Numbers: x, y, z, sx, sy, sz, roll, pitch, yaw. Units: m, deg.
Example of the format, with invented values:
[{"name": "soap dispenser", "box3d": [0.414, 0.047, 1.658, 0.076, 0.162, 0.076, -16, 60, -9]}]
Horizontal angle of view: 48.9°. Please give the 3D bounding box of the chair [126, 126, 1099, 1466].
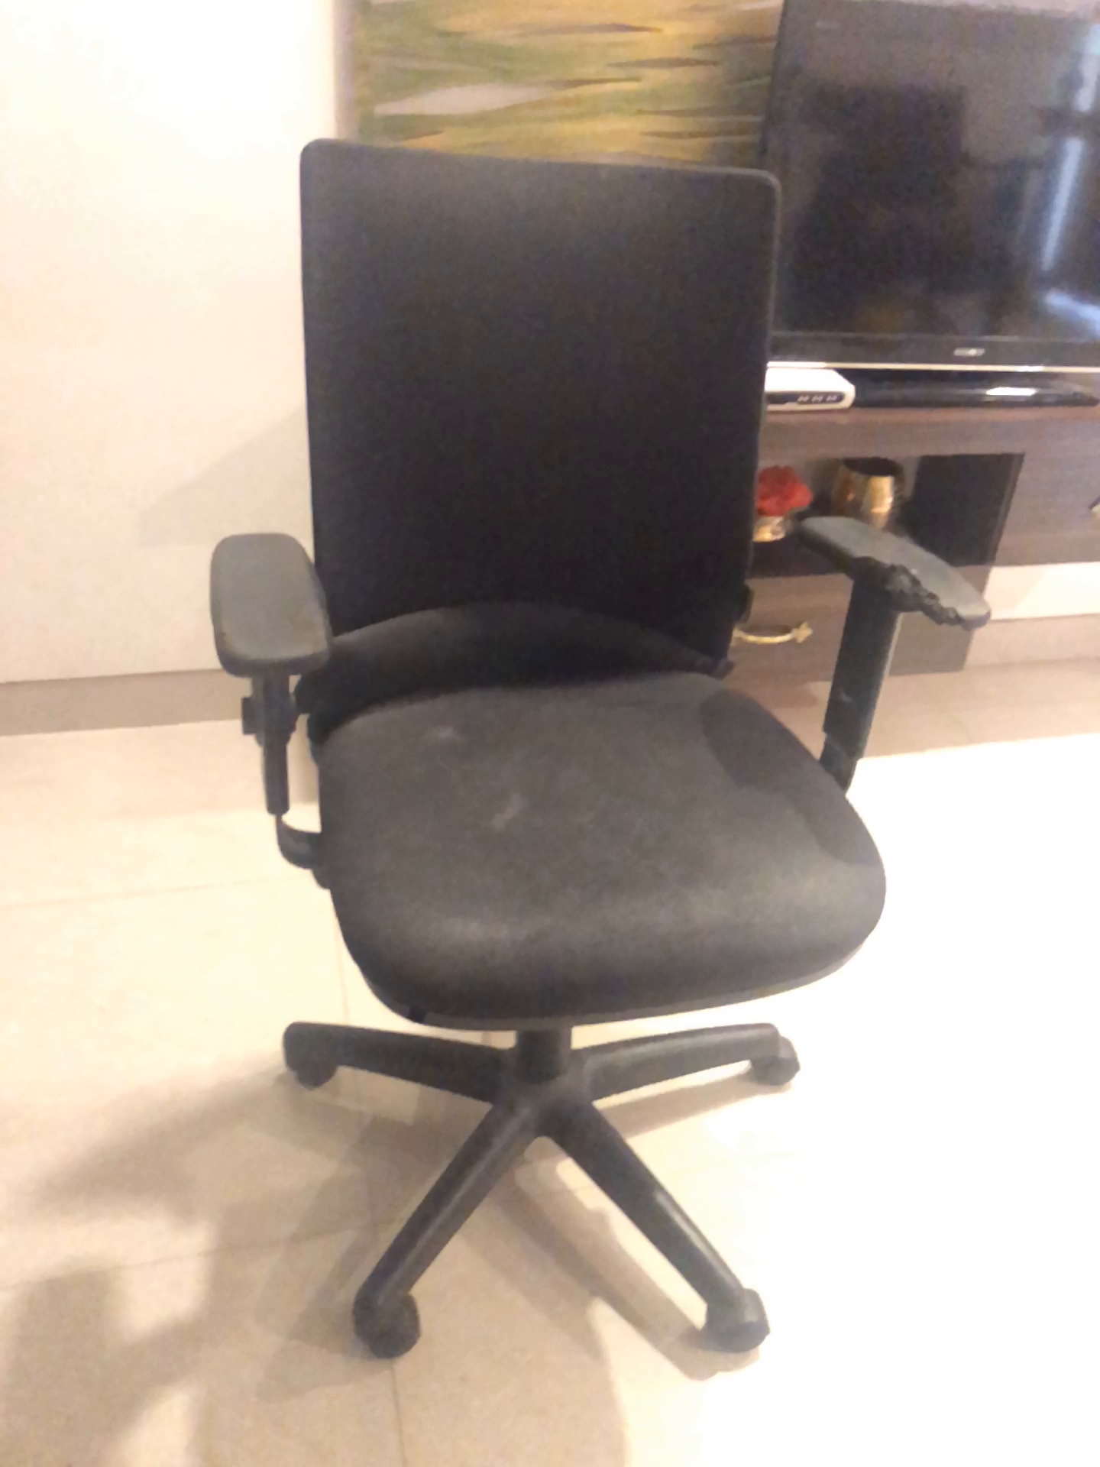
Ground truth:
[{"name": "chair", "box3d": [0.024, 0.037, 1.200, 0.710, 1.042, 0.705, -7, 35, -16]}]
